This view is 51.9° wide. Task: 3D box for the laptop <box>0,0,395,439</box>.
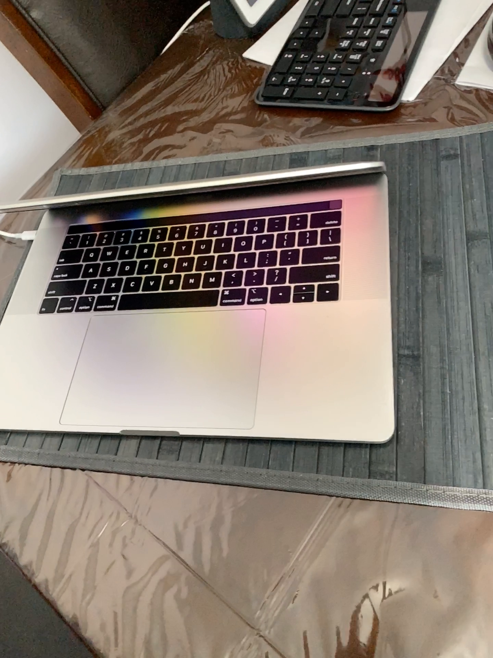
[{"bbox_3d":[-0.076,-0.067,0.359,0.340,0.164,0.234,-2,60,16],"label":"laptop"}]
